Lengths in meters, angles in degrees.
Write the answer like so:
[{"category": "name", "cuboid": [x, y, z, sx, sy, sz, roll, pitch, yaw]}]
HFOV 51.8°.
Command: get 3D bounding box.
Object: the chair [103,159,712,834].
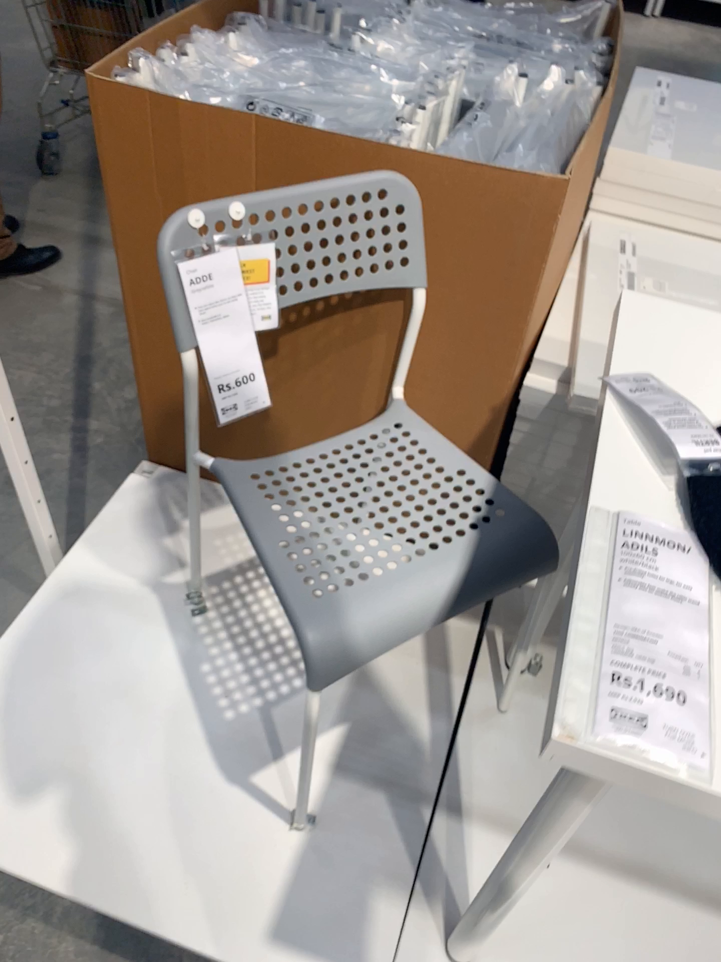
[{"category": "chair", "cuboid": [0.001, 0.024, 1.043, 0.460, 0.687, 0.501, -20, 51, -25]}]
